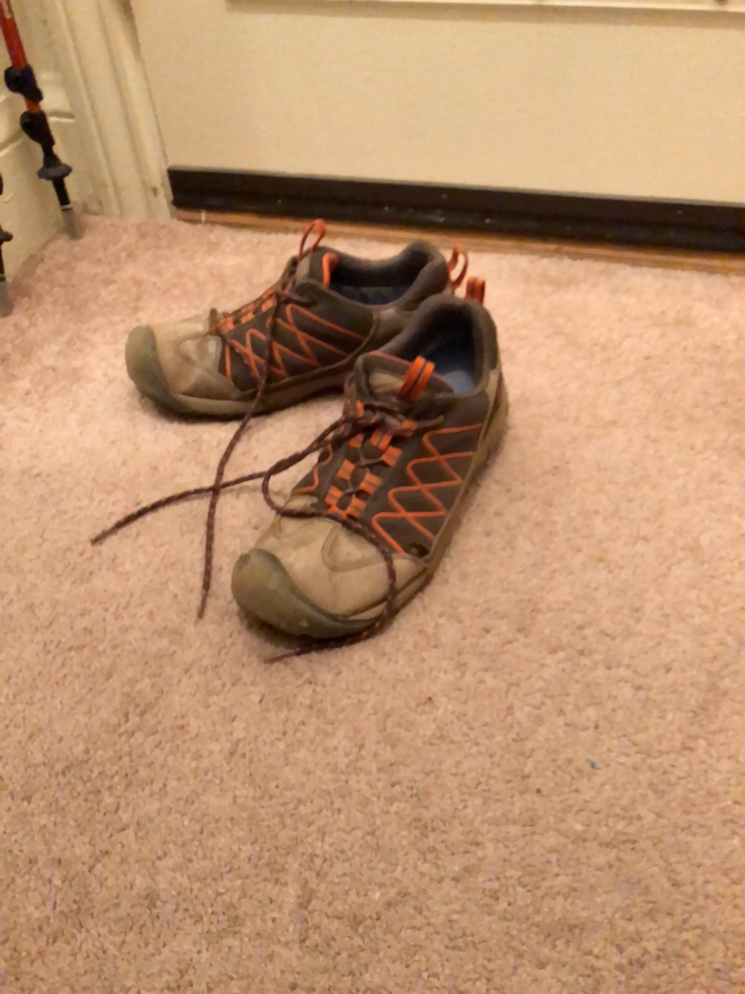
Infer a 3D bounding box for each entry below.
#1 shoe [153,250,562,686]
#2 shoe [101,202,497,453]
[{"bbox_3d":[0.006,-0.034,0.560,0.120,0.129,0.271,25,52,26],"label":"shoe"},{"bbox_3d":[-0.059,-0.147,0.710,0.300,0.129,0.121,-8,45,-5],"label":"shoe"}]
